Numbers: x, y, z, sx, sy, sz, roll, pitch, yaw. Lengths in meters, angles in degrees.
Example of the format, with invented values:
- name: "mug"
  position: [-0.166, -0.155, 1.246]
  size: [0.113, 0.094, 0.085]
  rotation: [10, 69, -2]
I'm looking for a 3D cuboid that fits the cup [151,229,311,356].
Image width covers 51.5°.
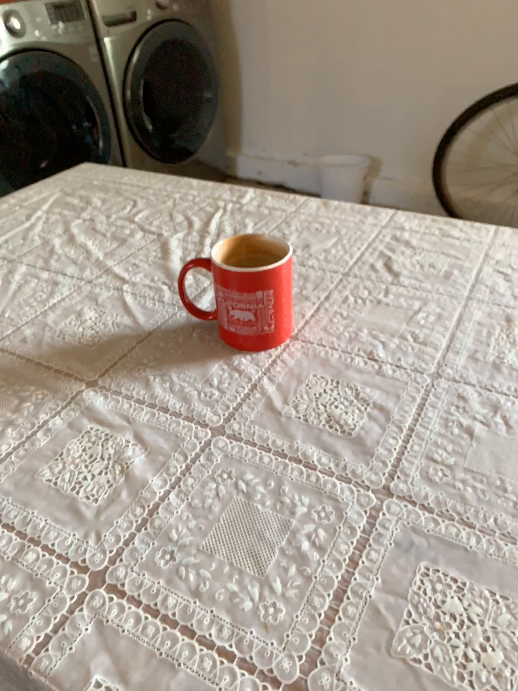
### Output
- name: "cup"
  position: [-0.024, -0.062, 0.580]
  size: [0.140, 0.080, 0.100]
  rotation: [9, 39, 17]
